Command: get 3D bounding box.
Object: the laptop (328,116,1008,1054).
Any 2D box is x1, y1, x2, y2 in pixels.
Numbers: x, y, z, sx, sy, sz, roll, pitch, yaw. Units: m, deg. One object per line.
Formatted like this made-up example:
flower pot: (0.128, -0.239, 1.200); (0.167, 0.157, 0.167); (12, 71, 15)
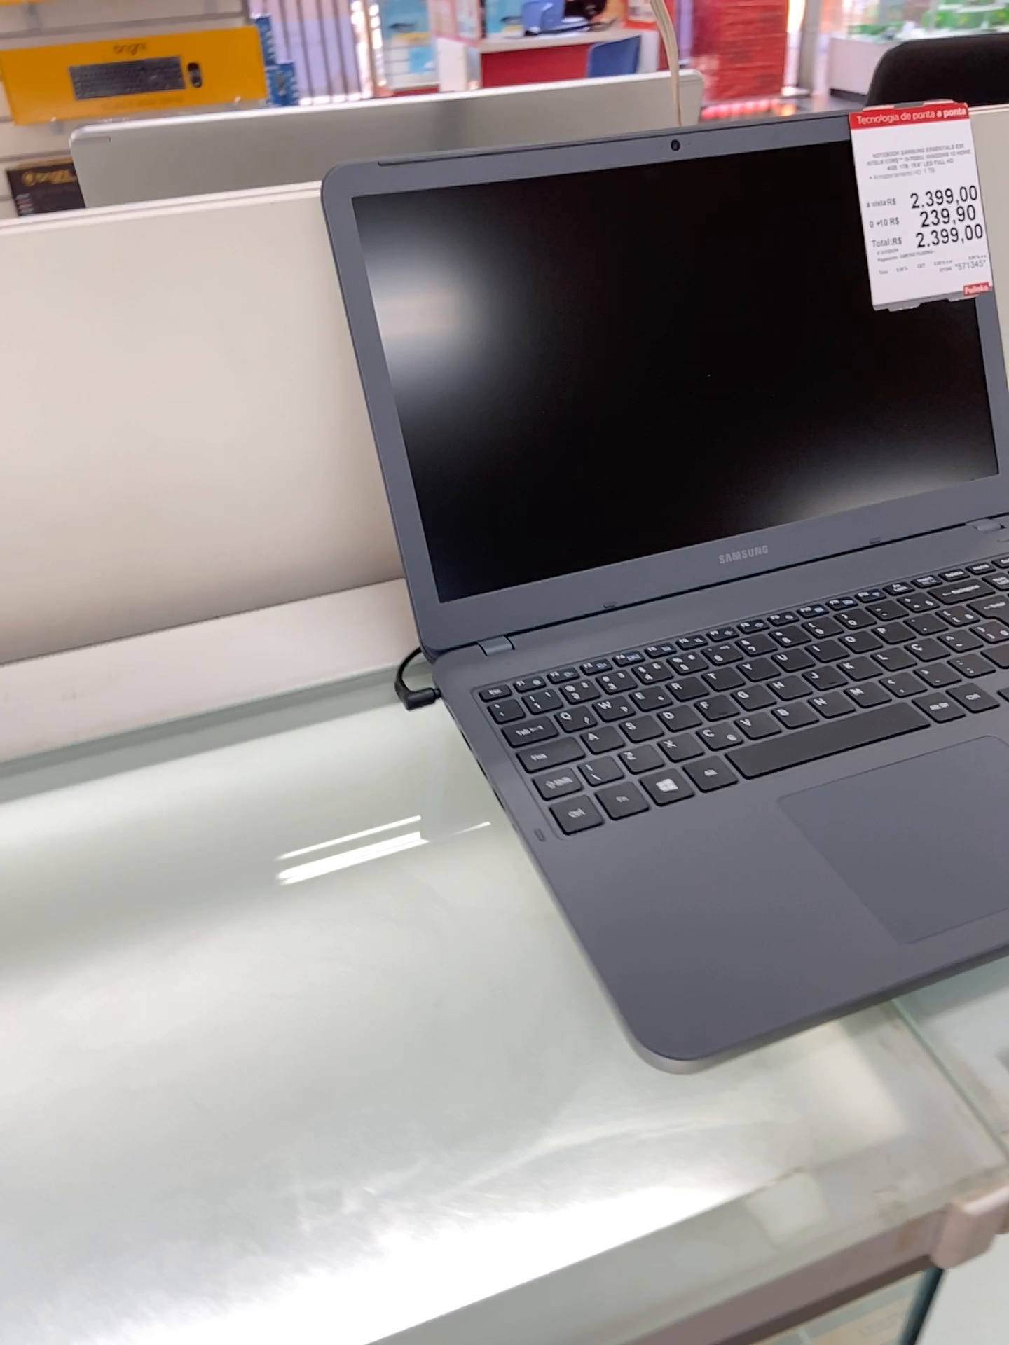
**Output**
laptop: (0.154, -0.095, 0.448); (0.360, 0.197, 0.353); (-14, 36, -15)
